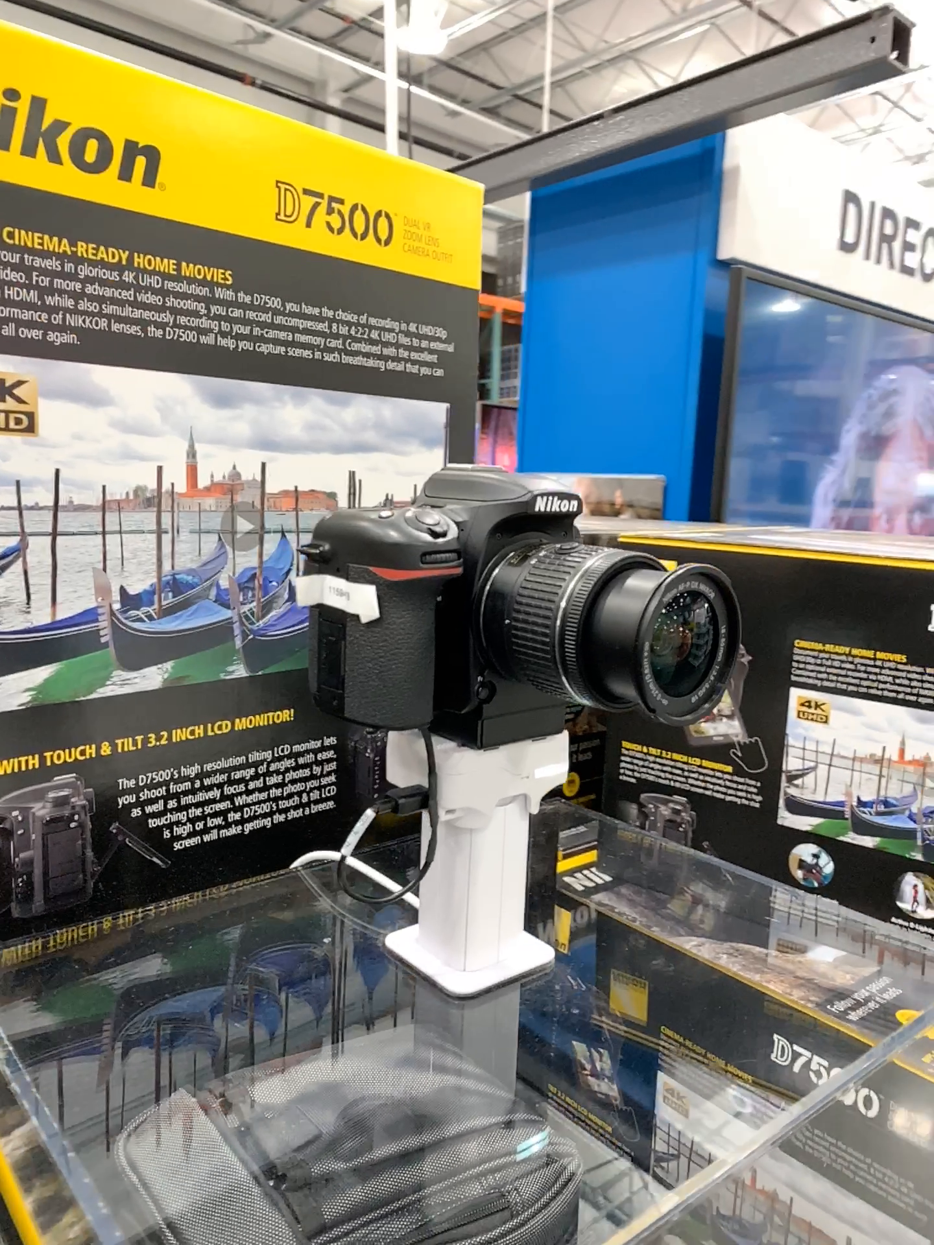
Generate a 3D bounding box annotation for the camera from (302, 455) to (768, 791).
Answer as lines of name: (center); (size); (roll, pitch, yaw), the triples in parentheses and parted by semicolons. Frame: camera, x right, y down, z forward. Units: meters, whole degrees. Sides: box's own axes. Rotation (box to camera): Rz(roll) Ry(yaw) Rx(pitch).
camera: (0.030, -0.010, 0.404); (0.160, 0.110, 0.110); (-4, 9, -40)
